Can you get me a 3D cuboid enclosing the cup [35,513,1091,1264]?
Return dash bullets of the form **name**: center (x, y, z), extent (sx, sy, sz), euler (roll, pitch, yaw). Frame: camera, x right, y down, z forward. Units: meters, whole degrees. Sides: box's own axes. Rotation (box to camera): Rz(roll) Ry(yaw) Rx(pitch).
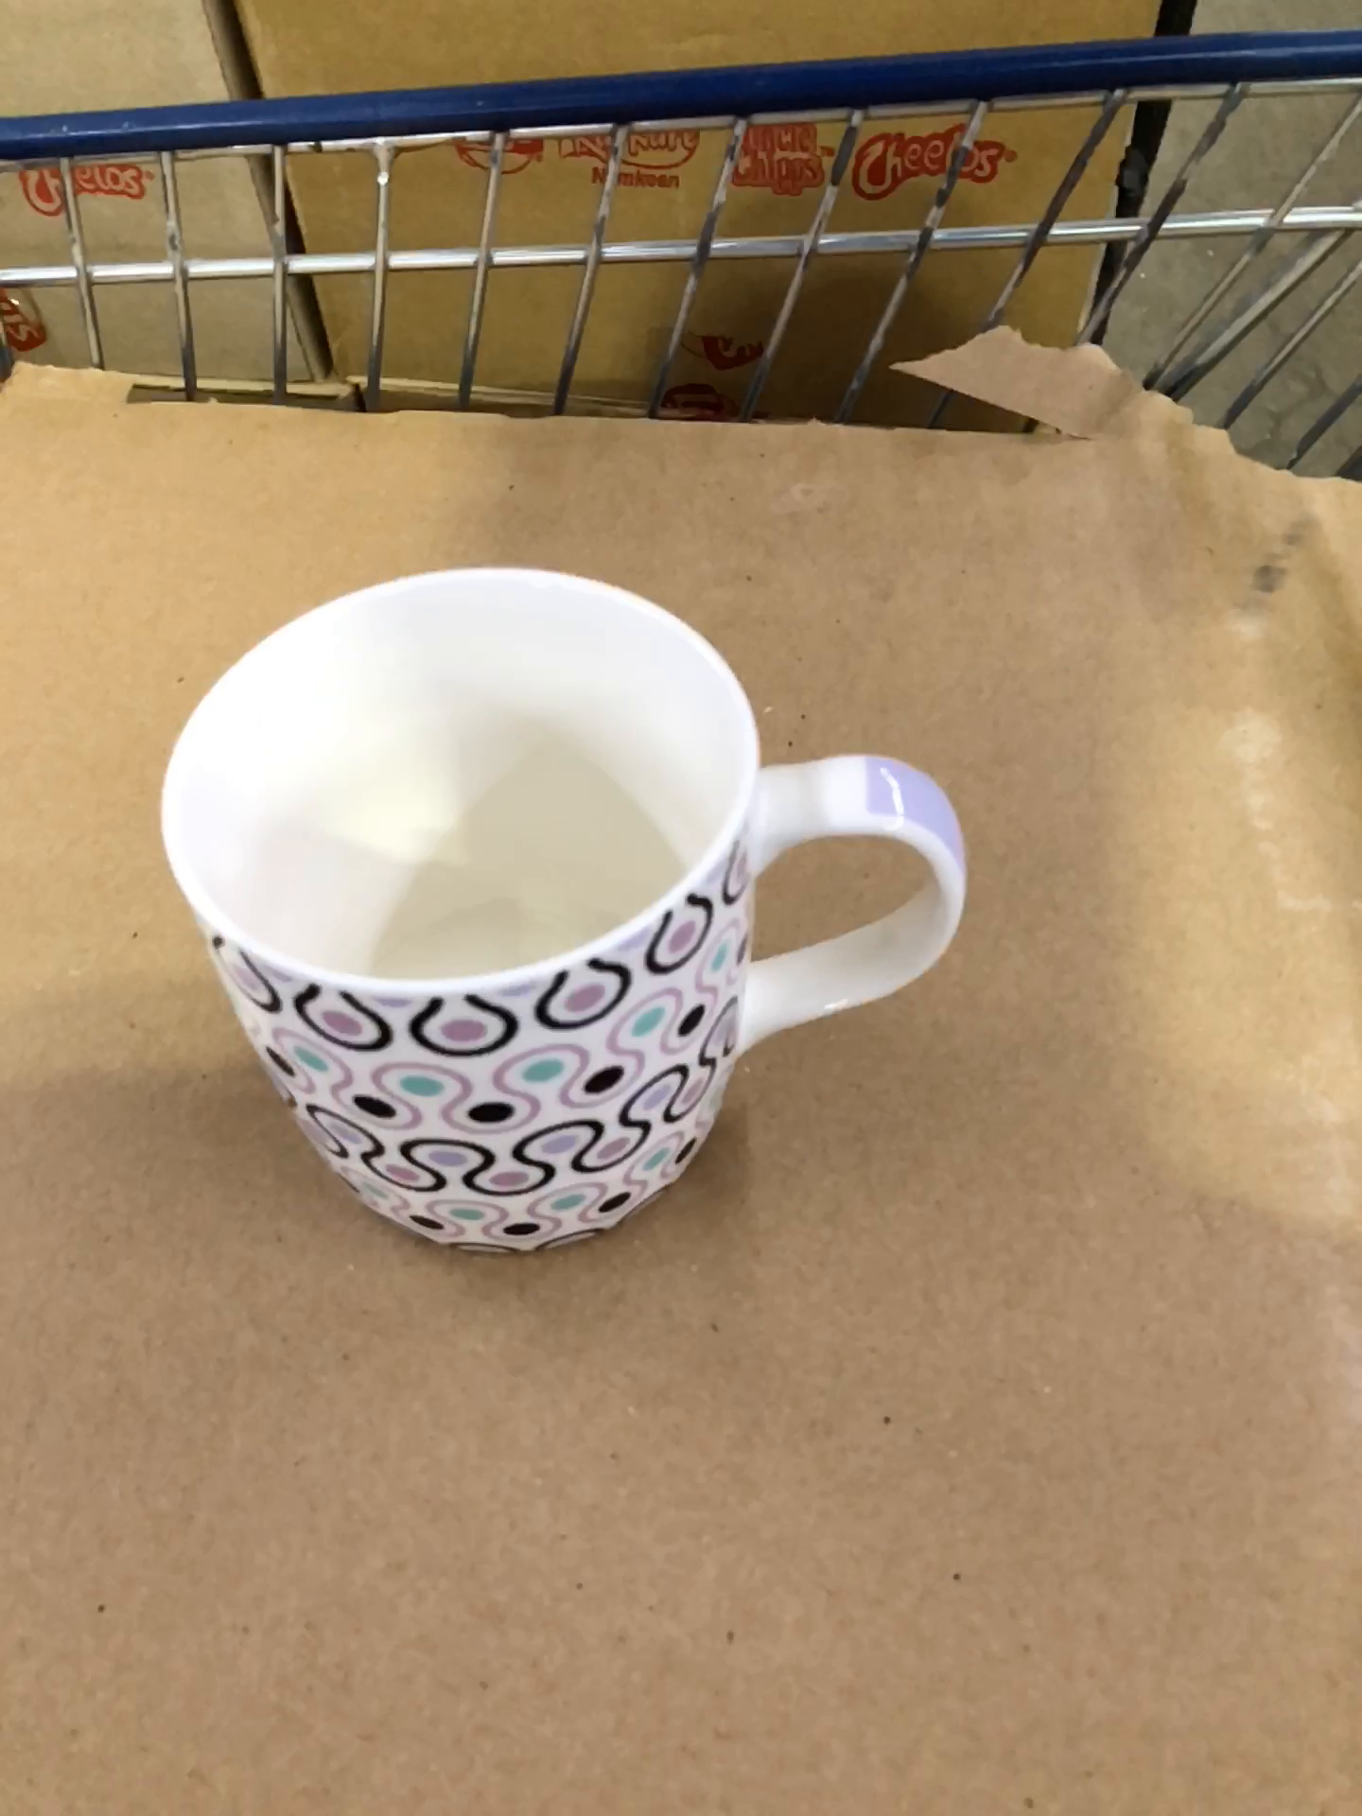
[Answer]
- **cup**: center (-0.016, -0.002, 0.262), extent (0.140, 0.090, 0.090), euler (-2, 51, 0)
